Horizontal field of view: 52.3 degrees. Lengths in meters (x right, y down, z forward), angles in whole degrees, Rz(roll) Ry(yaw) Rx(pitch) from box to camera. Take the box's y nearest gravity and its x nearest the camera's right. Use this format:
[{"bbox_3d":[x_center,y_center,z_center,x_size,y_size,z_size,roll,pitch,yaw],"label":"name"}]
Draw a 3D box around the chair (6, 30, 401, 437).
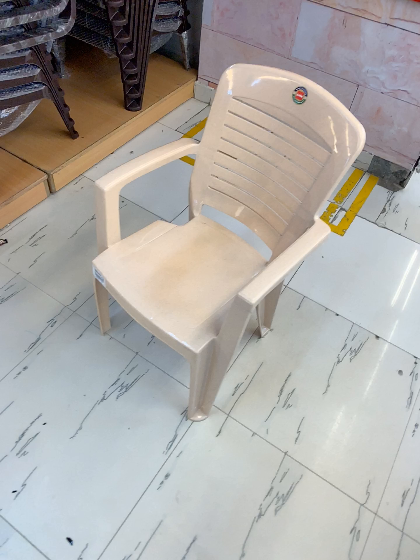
[{"bbox_3d":[-0.021,-0.111,1.210,0.572,0.774,0.623,37,57,21],"label":"chair"}]
